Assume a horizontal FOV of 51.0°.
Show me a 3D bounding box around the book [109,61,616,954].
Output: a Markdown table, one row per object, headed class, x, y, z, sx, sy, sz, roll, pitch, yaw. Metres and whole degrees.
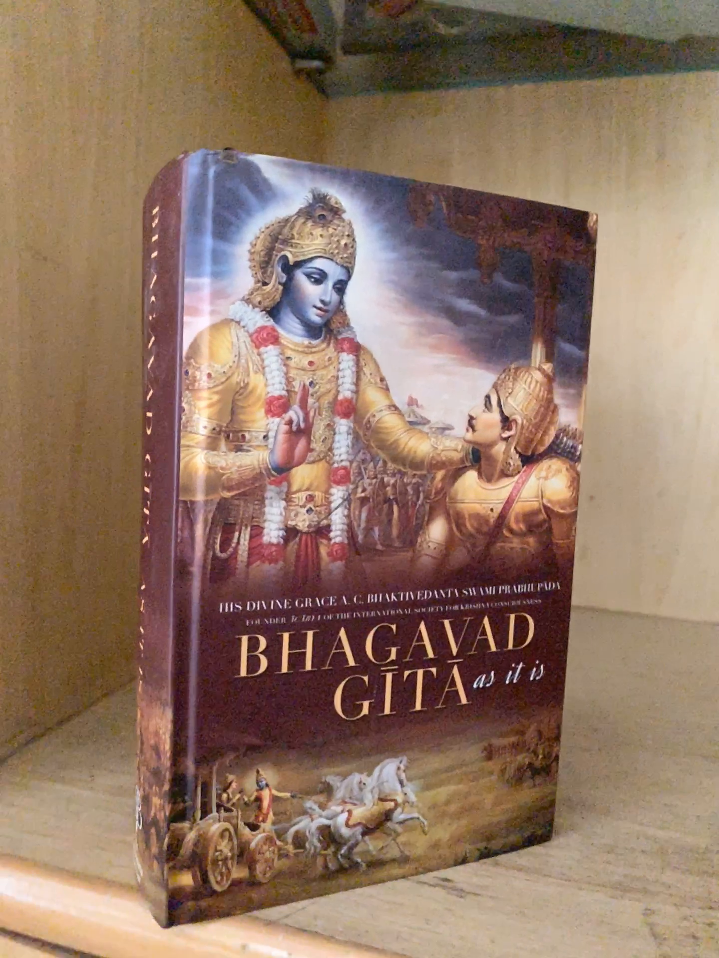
| class | x | y | z | sx | sy | sz | roll | pitch | yaw |
| --- | --- | --- | --- | --- | --- | --- | --- | --- | --- |
| book | -0.003 | 0.008 | 0.244 | 0.140 | 0.220 | 0.070 | 1 | 4 | -23 |
